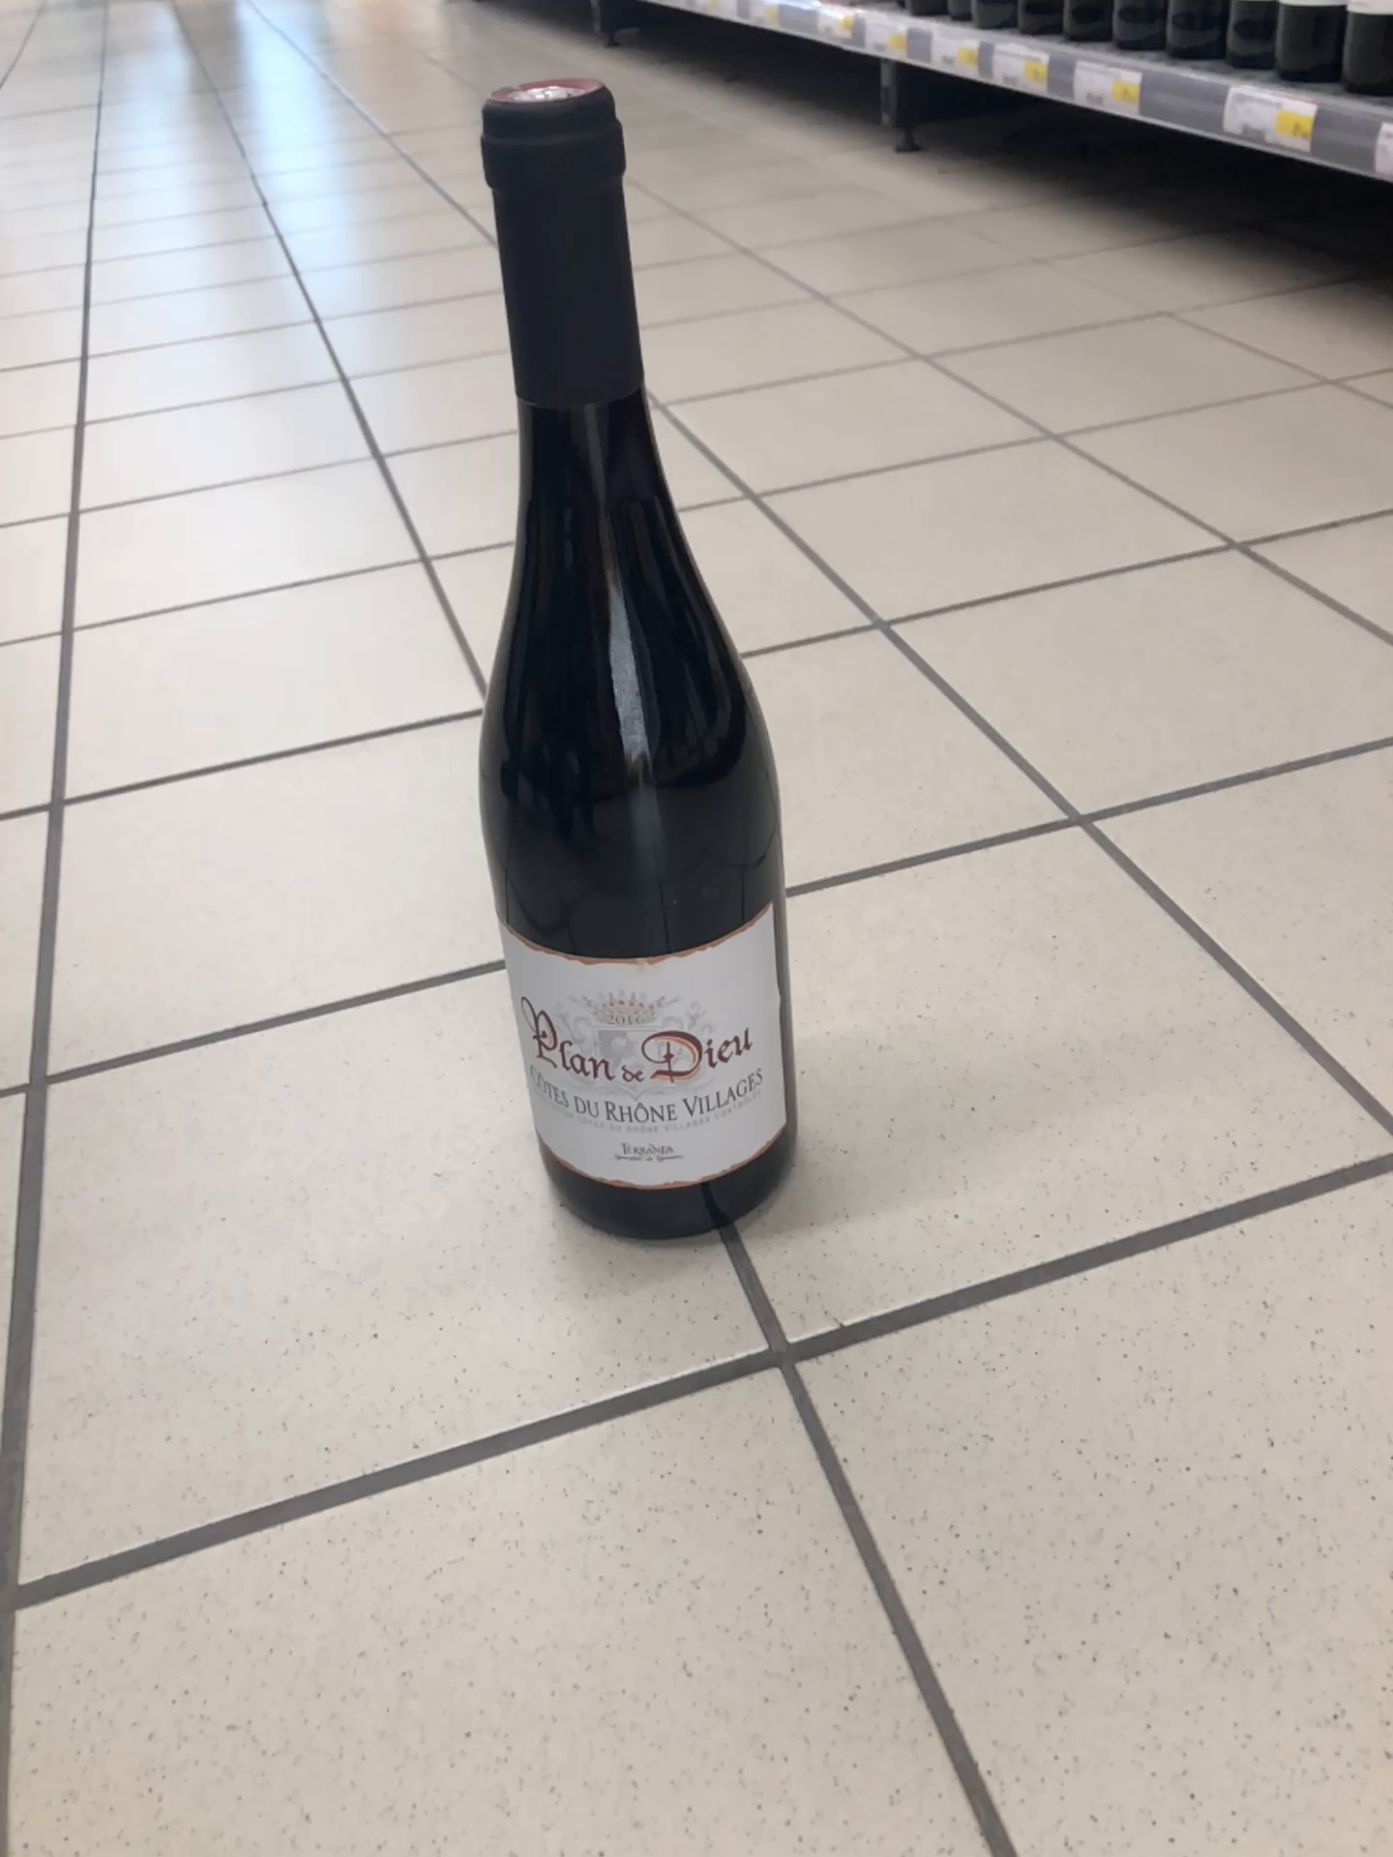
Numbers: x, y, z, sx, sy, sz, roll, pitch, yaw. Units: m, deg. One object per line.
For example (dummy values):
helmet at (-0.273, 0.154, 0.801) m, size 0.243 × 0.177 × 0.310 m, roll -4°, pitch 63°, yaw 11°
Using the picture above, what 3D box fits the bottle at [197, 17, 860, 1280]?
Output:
bottle at (-0.018, -0.054, 0.387) m, size 0.100 × 0.288 × 0.101 m, roll -4°, pitch 35°, yaw 3°
